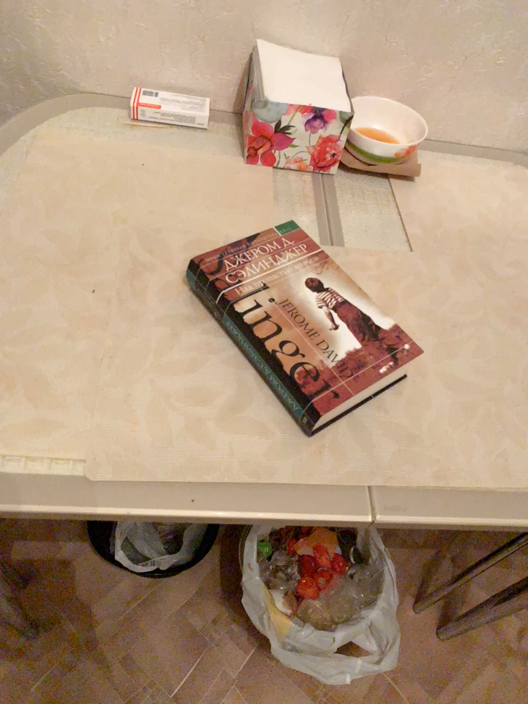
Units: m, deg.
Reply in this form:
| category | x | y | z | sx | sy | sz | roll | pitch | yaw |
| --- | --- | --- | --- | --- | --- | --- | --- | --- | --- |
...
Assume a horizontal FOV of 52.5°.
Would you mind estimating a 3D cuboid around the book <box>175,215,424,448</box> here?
| category | x | y | z | sx | sy | sz | roll | pitch | yaw |
| --- | --- | --- | --- | --- | --- | --- | --- | --- | --- |
| book | 0.030 | -0.034 | 0.556 | 0.150 | 0.049 | 0.221 | -26 | 64 | -28 |
